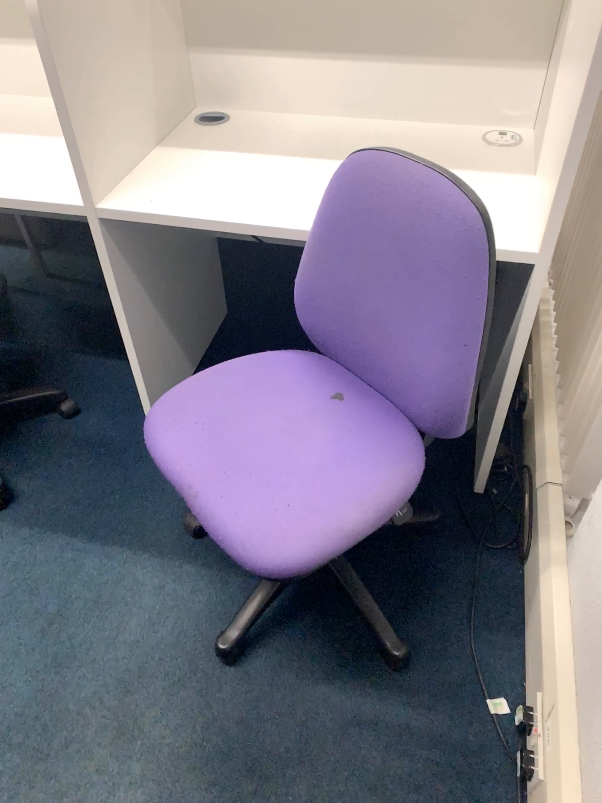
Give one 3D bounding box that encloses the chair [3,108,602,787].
[{"bbox_3d":[0.023,0.063,1.167,0.652,0.862,0.694,-28,50,-25],"label":"chair"}]
